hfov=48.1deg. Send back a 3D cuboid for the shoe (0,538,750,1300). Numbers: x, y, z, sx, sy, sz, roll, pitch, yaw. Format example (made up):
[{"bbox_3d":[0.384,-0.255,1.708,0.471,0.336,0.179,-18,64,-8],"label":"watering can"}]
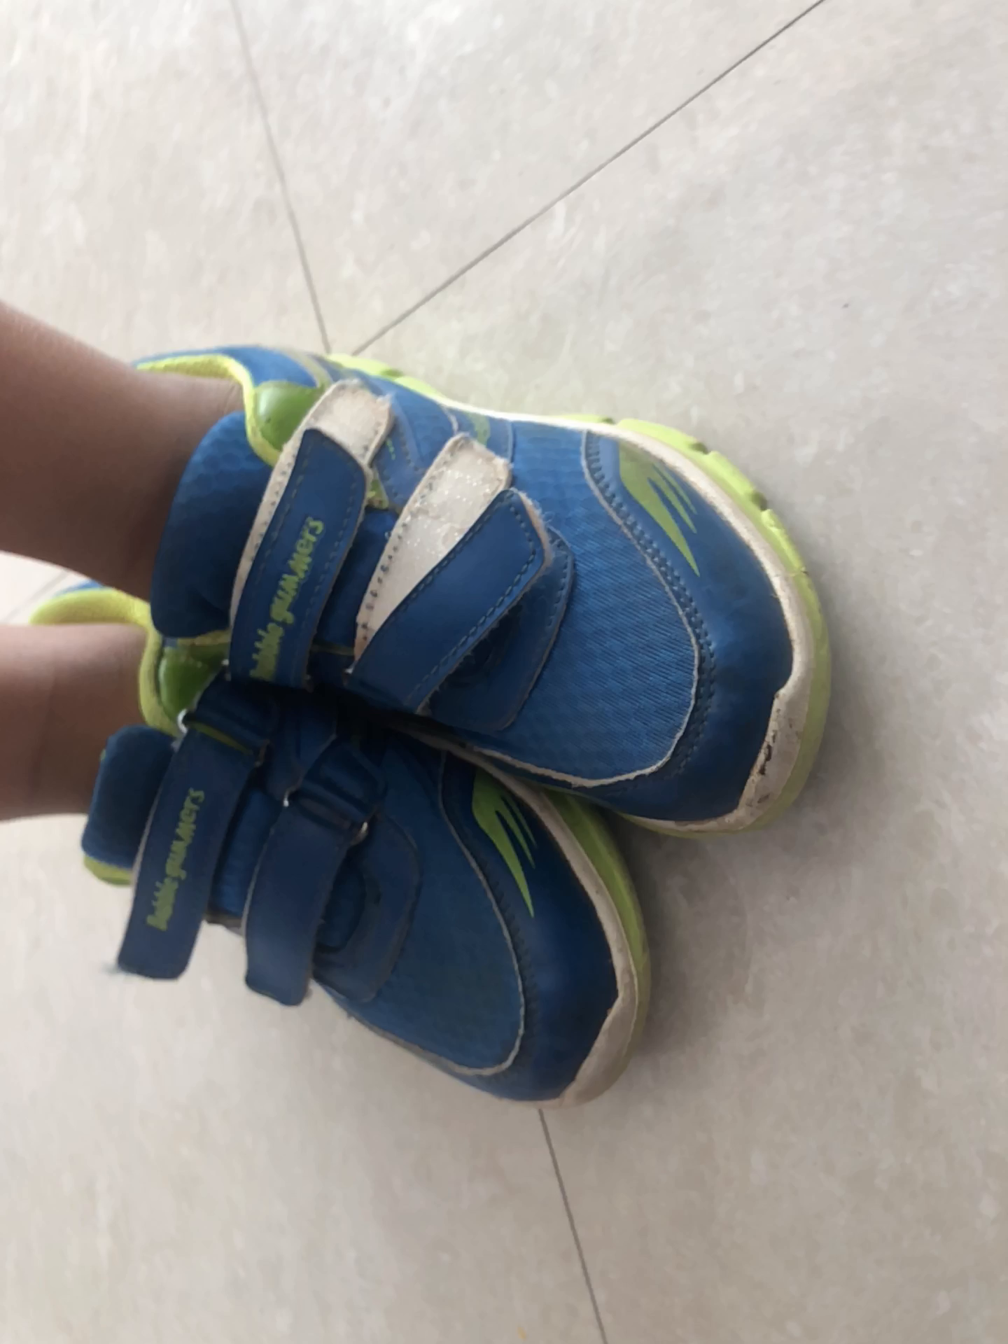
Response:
[{"bbox_3d":[-0.054,0.048,0.319,0.221,0.060,0.090,32,109,34],"label":"shoe"}]

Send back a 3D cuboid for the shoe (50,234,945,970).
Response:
[{"bbox_3d":[-0.021,-0.032,0.283,0.221,0.060,0.090,31,108,34],"label":"shoe"}]
